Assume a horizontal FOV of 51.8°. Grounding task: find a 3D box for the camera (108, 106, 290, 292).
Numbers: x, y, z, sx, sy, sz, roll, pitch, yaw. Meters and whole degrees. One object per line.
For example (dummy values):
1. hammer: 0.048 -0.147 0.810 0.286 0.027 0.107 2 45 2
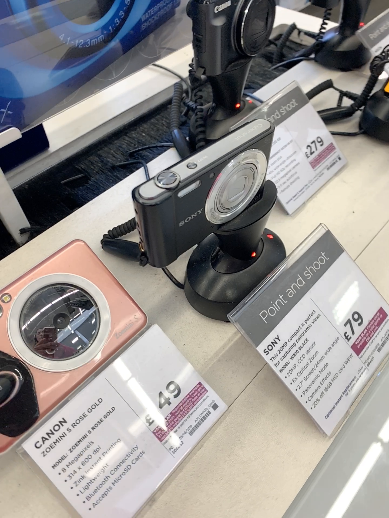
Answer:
1. camera: 0.006 -0.036 0.230 0.100 0.059 0.030 -36 58 -24
